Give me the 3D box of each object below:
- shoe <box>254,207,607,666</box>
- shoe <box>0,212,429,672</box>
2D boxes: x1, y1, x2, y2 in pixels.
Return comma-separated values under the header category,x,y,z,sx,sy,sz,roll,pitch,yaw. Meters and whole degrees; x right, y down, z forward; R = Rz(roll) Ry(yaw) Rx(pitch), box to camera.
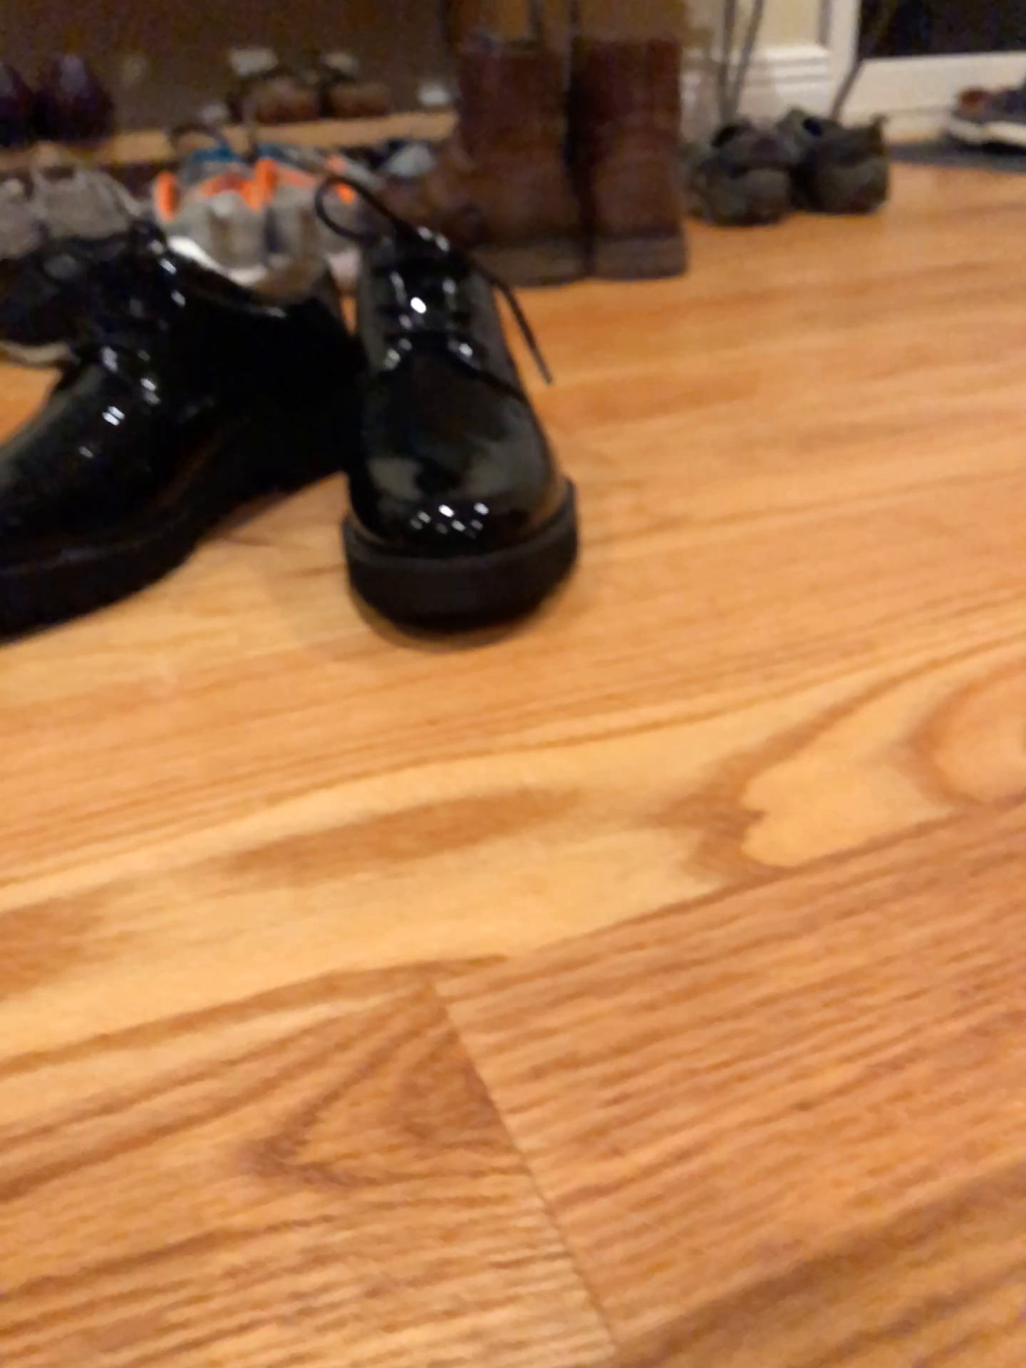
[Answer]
category,x,y,z,sx,sy,sz,roll,pitch,yaw
shoe,-0.024,-0.114,0.445,0.095,0.101,0.252,-3,29,0
shoe,-0.146,-0.114,0.450,0.095,0.101,0.252,13,33,27
